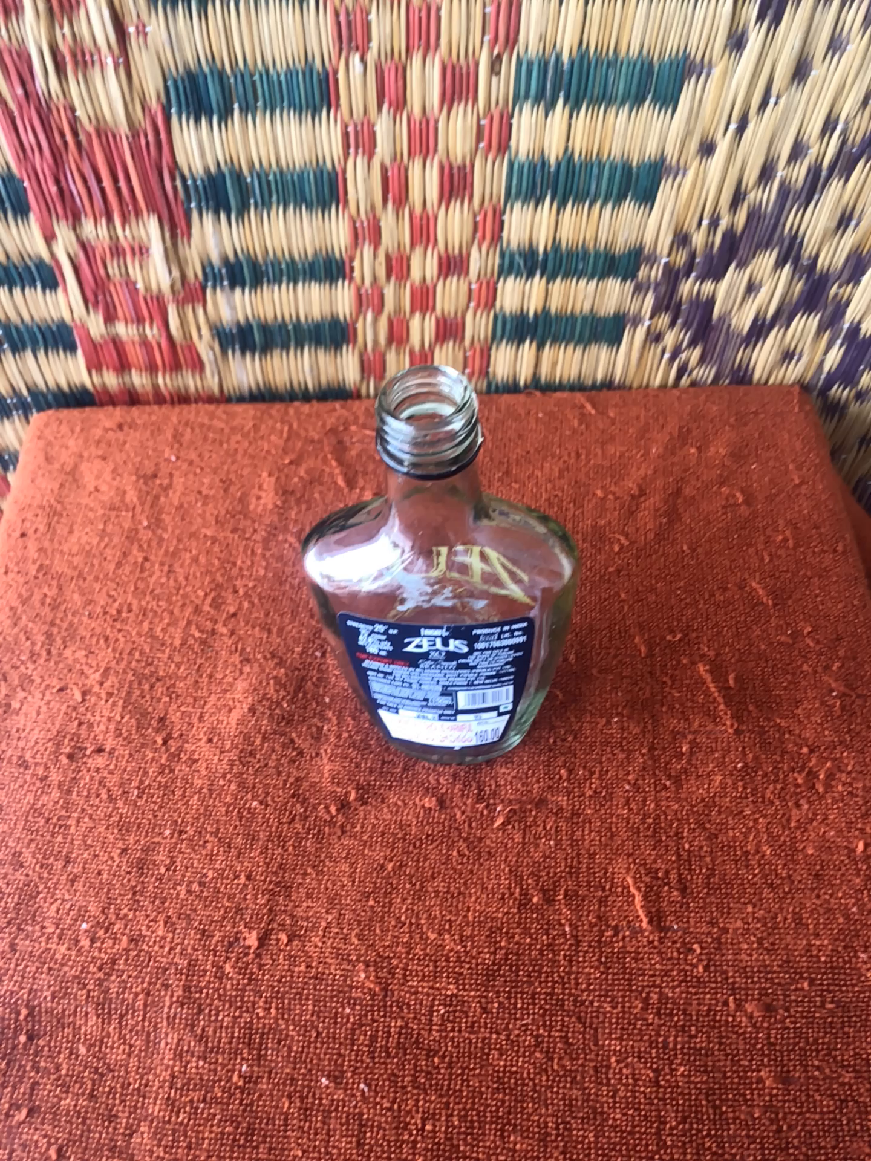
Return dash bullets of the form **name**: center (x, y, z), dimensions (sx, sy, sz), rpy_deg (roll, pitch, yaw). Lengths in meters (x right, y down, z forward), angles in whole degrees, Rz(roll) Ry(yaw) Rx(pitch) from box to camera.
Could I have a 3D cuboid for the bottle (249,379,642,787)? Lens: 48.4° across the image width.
- **bottle**: center (0.005, 0.011, 0.271), dimensions (0.080, 0.150, 0.040), rpy_deg (0, 58, 2)
